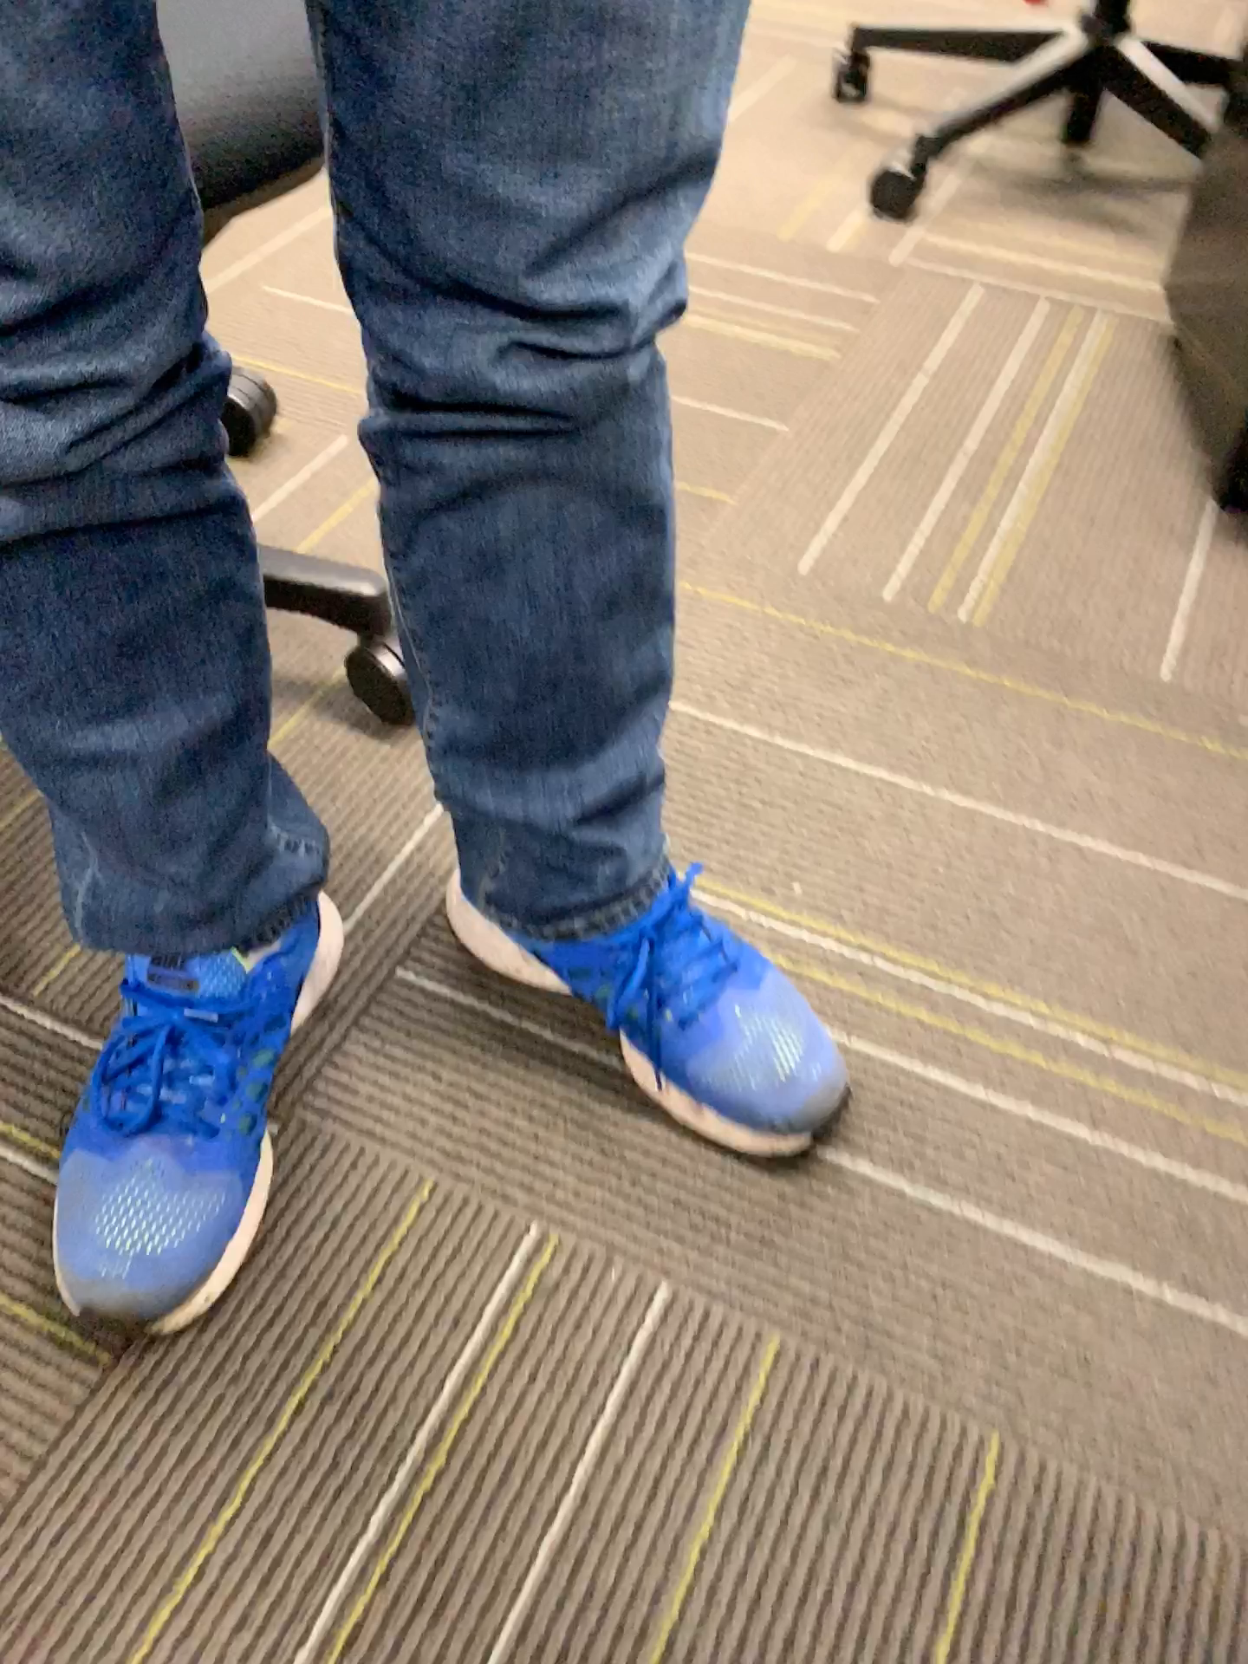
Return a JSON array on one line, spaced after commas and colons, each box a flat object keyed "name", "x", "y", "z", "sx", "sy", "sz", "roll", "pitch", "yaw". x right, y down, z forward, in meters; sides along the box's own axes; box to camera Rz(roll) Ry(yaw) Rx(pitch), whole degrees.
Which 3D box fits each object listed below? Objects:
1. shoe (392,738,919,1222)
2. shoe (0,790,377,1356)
[{"name": "shoe", "x": 0.009, "y": 0.072, "z": 0.787, "sx": 0.142, "sy": 0.088, "sz": 0.311, "roll": -31, "pitch": 46, "yaw": -28}, {"name": "shoe", "x": -0.245, "y": 0.115, "z": 0.743, "sx": 0.119, "sy": 0.088, "sz": 0.340, "roll": 5, "pitch": 38, "yaw": 2}]
